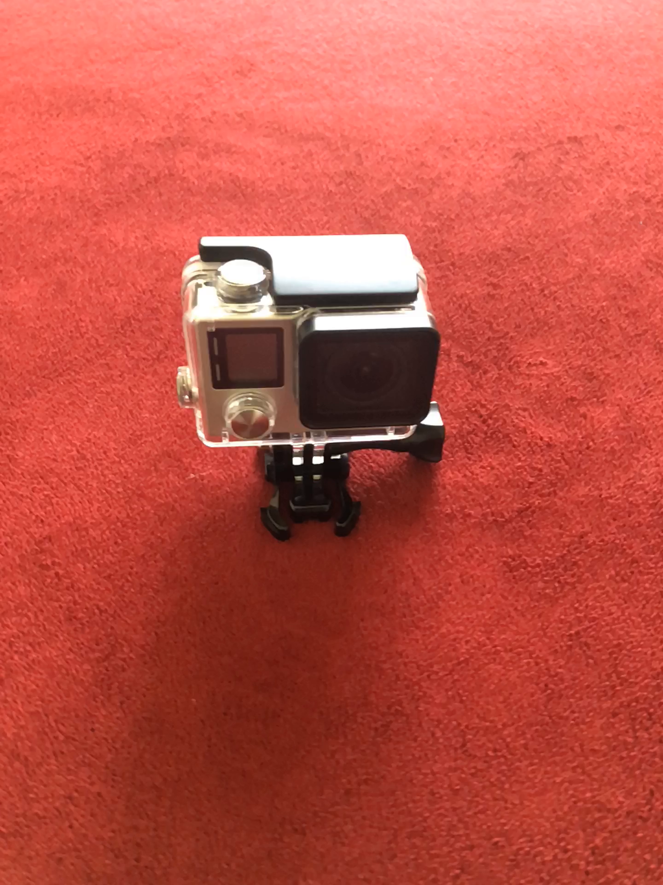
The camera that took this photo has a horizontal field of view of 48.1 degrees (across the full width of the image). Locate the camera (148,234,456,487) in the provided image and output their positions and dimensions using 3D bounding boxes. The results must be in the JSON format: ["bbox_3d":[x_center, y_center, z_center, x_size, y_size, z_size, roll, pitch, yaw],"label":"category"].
[{"bbox_3d":[-0.007,-0.022,0.205,0.072,0.050,0.040,-5,45,-2],"label":"camera"}]
